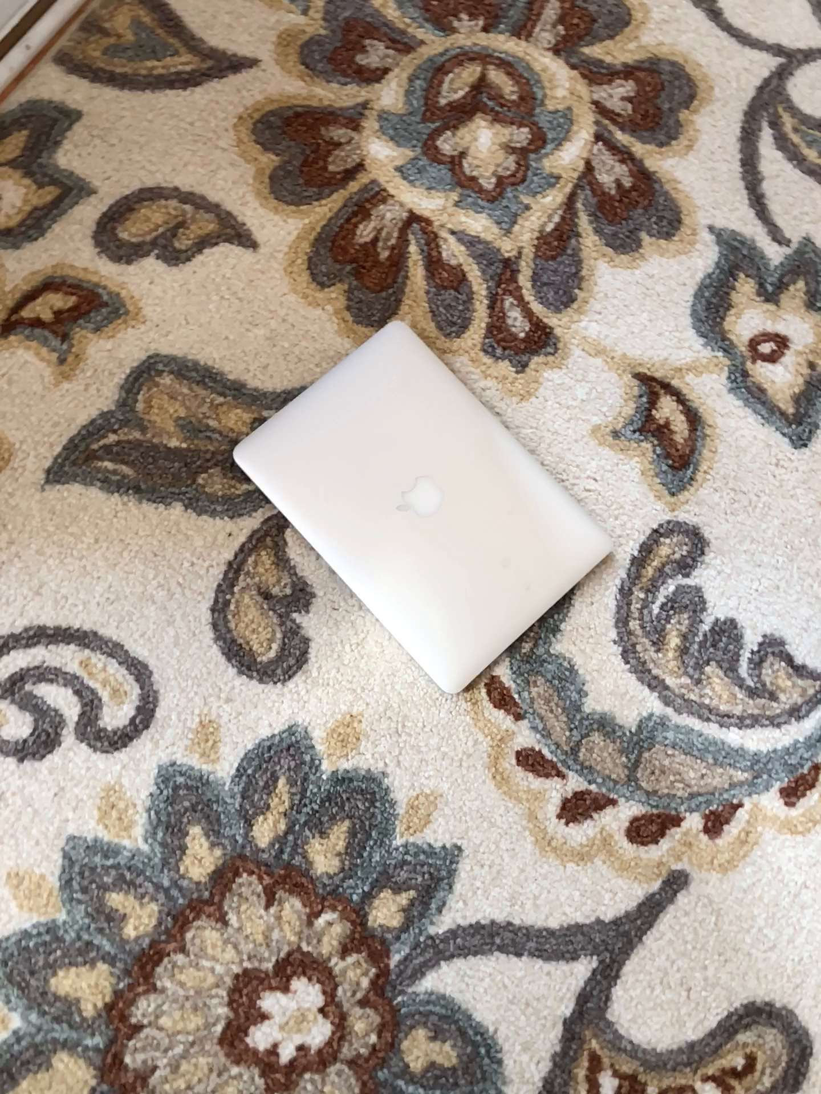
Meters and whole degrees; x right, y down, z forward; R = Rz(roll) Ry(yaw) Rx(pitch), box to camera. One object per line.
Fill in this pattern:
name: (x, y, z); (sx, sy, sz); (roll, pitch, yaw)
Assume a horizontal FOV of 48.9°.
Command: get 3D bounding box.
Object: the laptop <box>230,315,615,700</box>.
laptop: (0.012, -0.044, 0.816); (0.207, 0.001, 0.295); (-41, 84, -12)
